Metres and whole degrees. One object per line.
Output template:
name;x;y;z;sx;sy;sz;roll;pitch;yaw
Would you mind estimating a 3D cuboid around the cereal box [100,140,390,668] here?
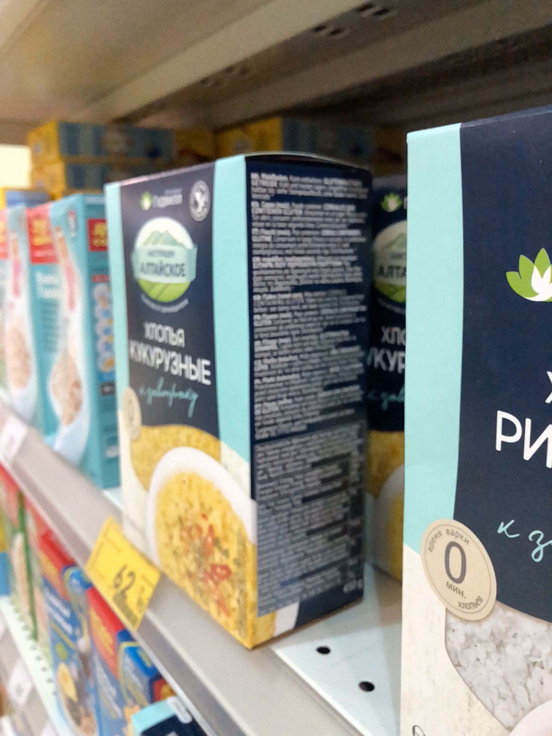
cereal box;-0.022;0.006;0.291;0.060;0.189;0.140;-7;12;-36
